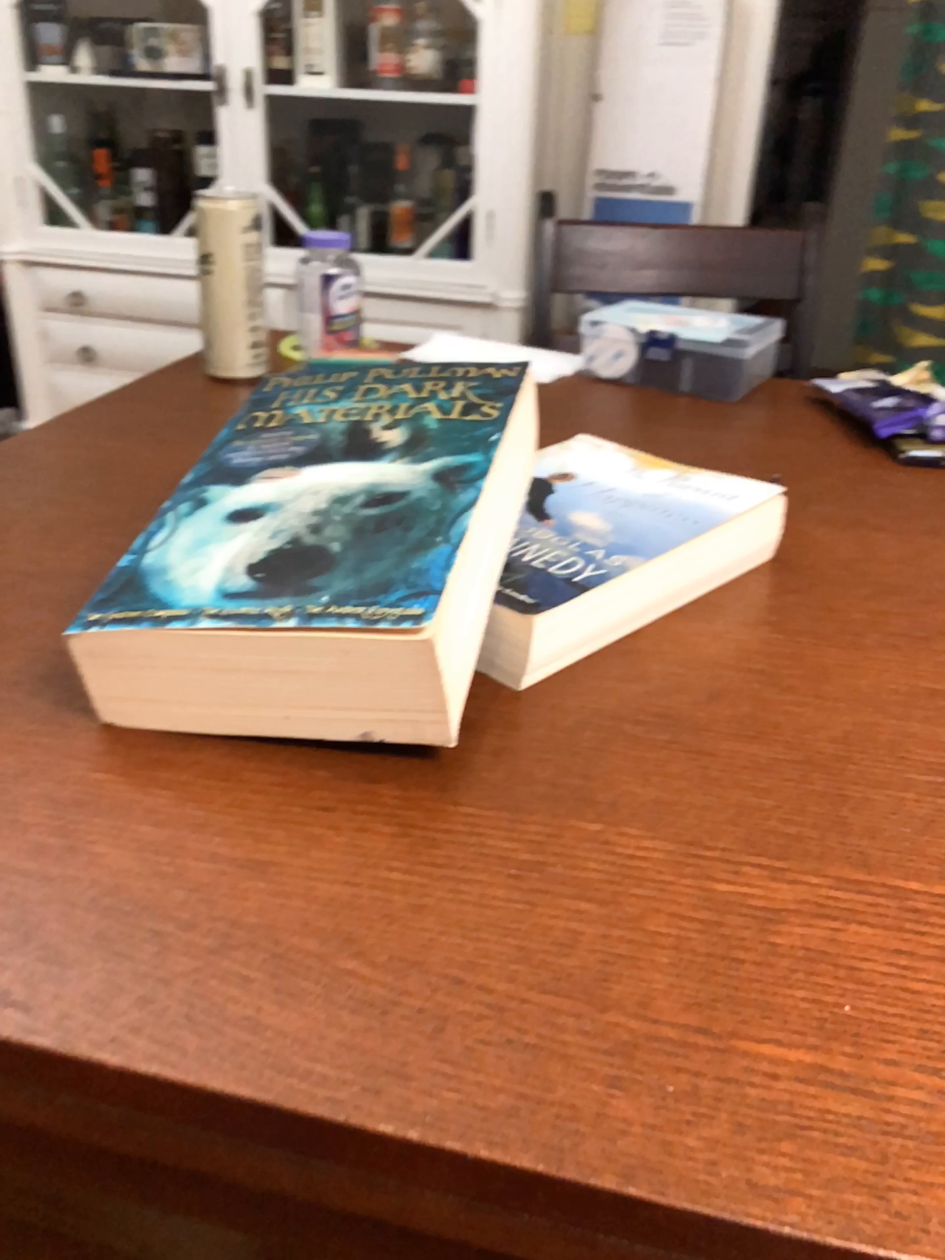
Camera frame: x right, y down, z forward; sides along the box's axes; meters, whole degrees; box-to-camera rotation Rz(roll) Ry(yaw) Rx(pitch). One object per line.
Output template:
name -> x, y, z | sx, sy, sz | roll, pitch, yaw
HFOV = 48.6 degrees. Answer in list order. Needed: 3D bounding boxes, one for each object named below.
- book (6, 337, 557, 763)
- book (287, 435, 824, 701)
book -> -0.061, -0.054, 0.473 | 0.170, 0.060, 0.242 | 3, 39, 11
book -> 0.050, -0.050, 0.570 | 0.241, 0.040, 0.170 | -24, 31, -37
